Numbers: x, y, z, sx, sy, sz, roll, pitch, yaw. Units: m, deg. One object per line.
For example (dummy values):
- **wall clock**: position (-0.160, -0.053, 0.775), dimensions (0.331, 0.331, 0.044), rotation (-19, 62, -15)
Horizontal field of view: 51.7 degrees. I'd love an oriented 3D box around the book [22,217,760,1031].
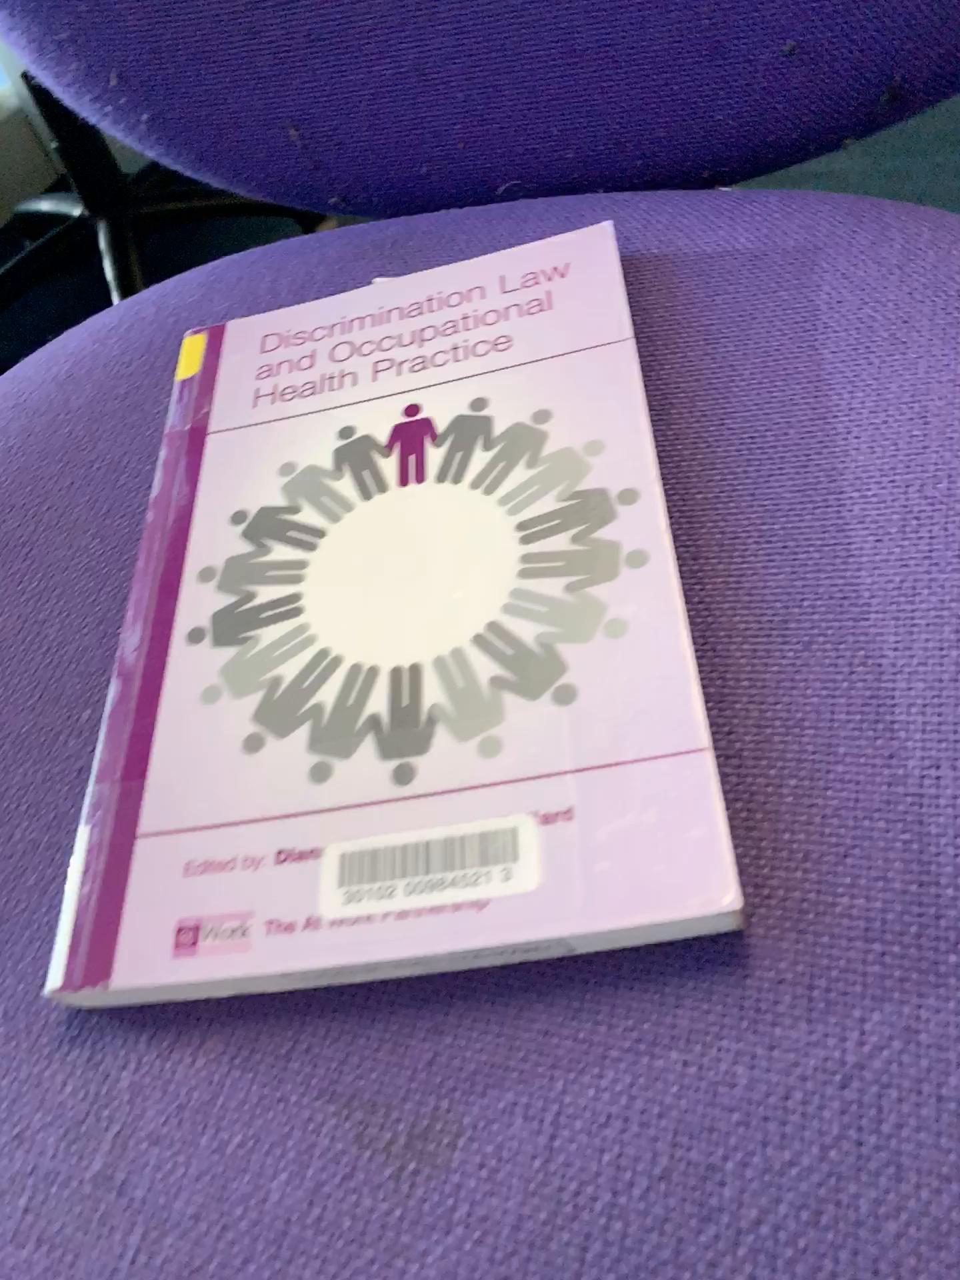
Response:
- **book**: position (-0.026, -0.023, 0.279), dimensions (0.157, 0.022, 0.236), rotation (-11, 53, 11)
